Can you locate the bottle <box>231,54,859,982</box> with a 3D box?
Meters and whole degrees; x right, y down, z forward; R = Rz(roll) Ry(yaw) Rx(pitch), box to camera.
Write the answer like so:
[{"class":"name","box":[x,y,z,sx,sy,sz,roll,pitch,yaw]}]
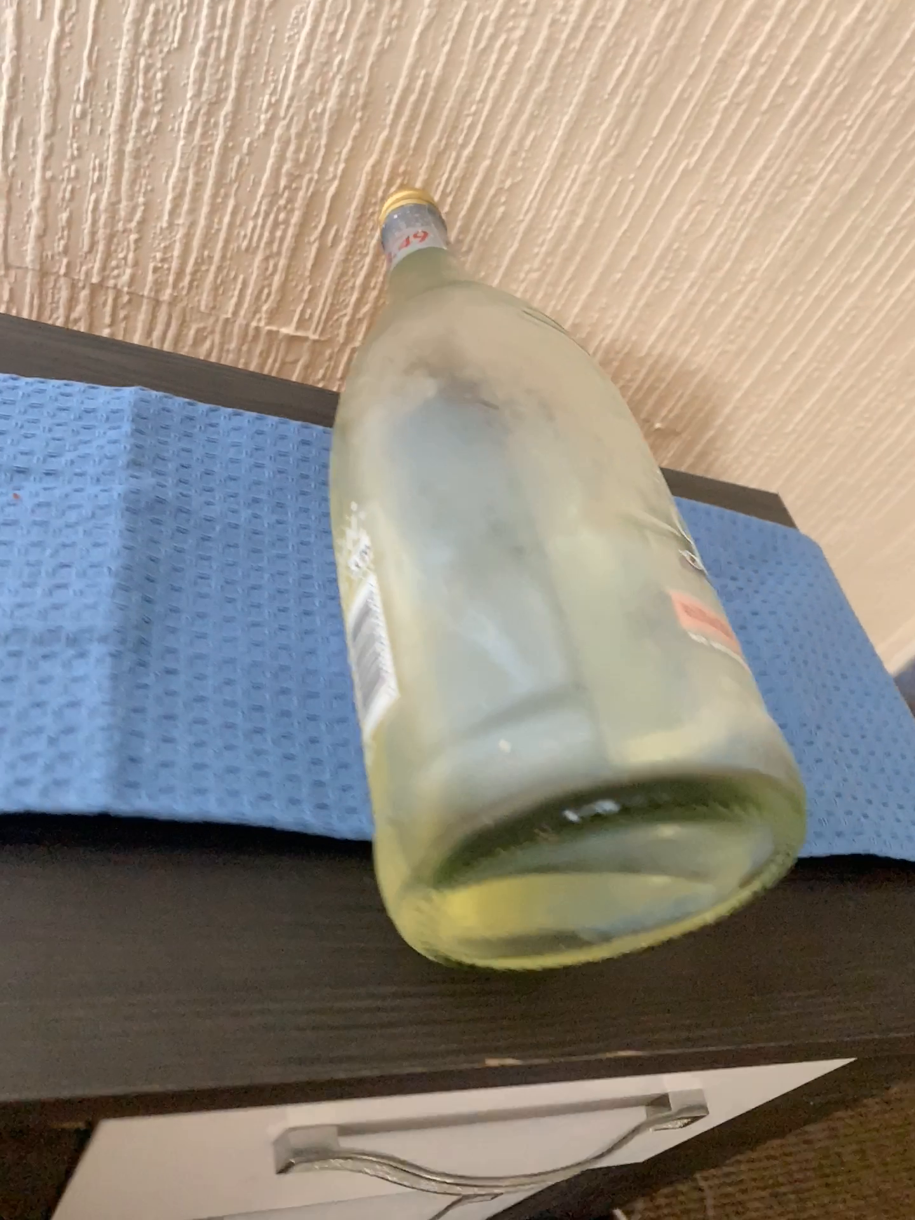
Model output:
[{"class":"bottle","box":[-0.007,-0.062,0.329,0.110,0.119,0.322,-7,52,-10]}]
